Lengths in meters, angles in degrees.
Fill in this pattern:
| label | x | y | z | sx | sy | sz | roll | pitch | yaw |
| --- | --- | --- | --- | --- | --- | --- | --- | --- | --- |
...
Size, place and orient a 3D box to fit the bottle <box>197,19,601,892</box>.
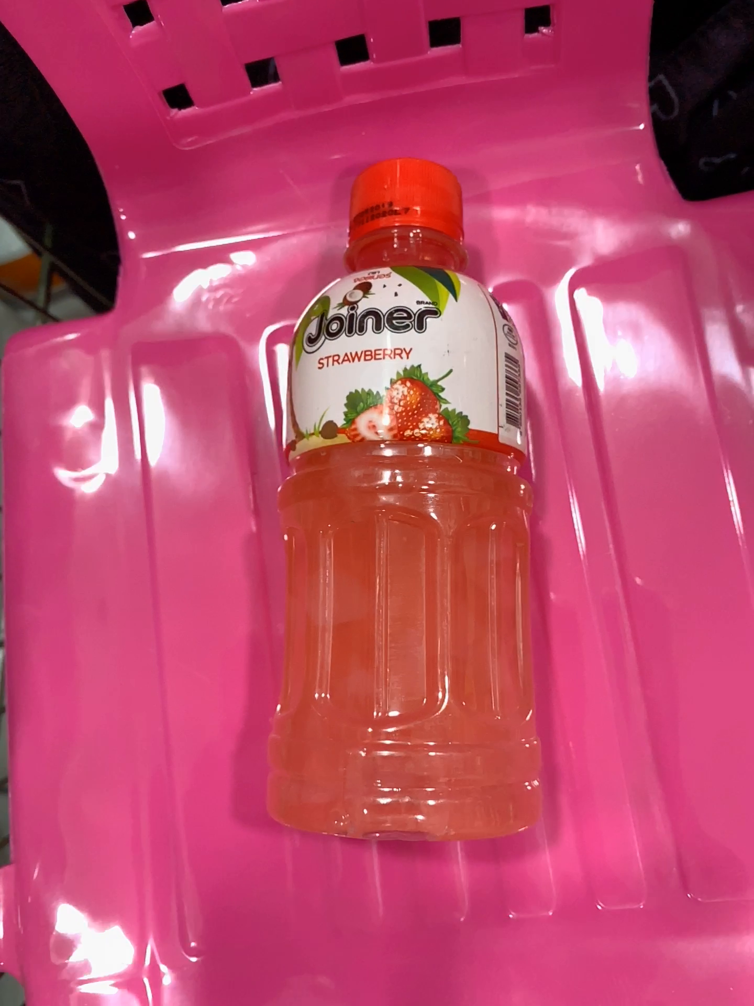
| label | x | y | z | sx | sy | sz | roll | pitch | yaw |
| --- | --- | --- | --- | --- | --- | --- | --- | --- | --- |
| bottle | 0.006 | -0.009 | 0.181 | 0.070 | 0.070 | 0.160 | -1 | 83 | 6 |
